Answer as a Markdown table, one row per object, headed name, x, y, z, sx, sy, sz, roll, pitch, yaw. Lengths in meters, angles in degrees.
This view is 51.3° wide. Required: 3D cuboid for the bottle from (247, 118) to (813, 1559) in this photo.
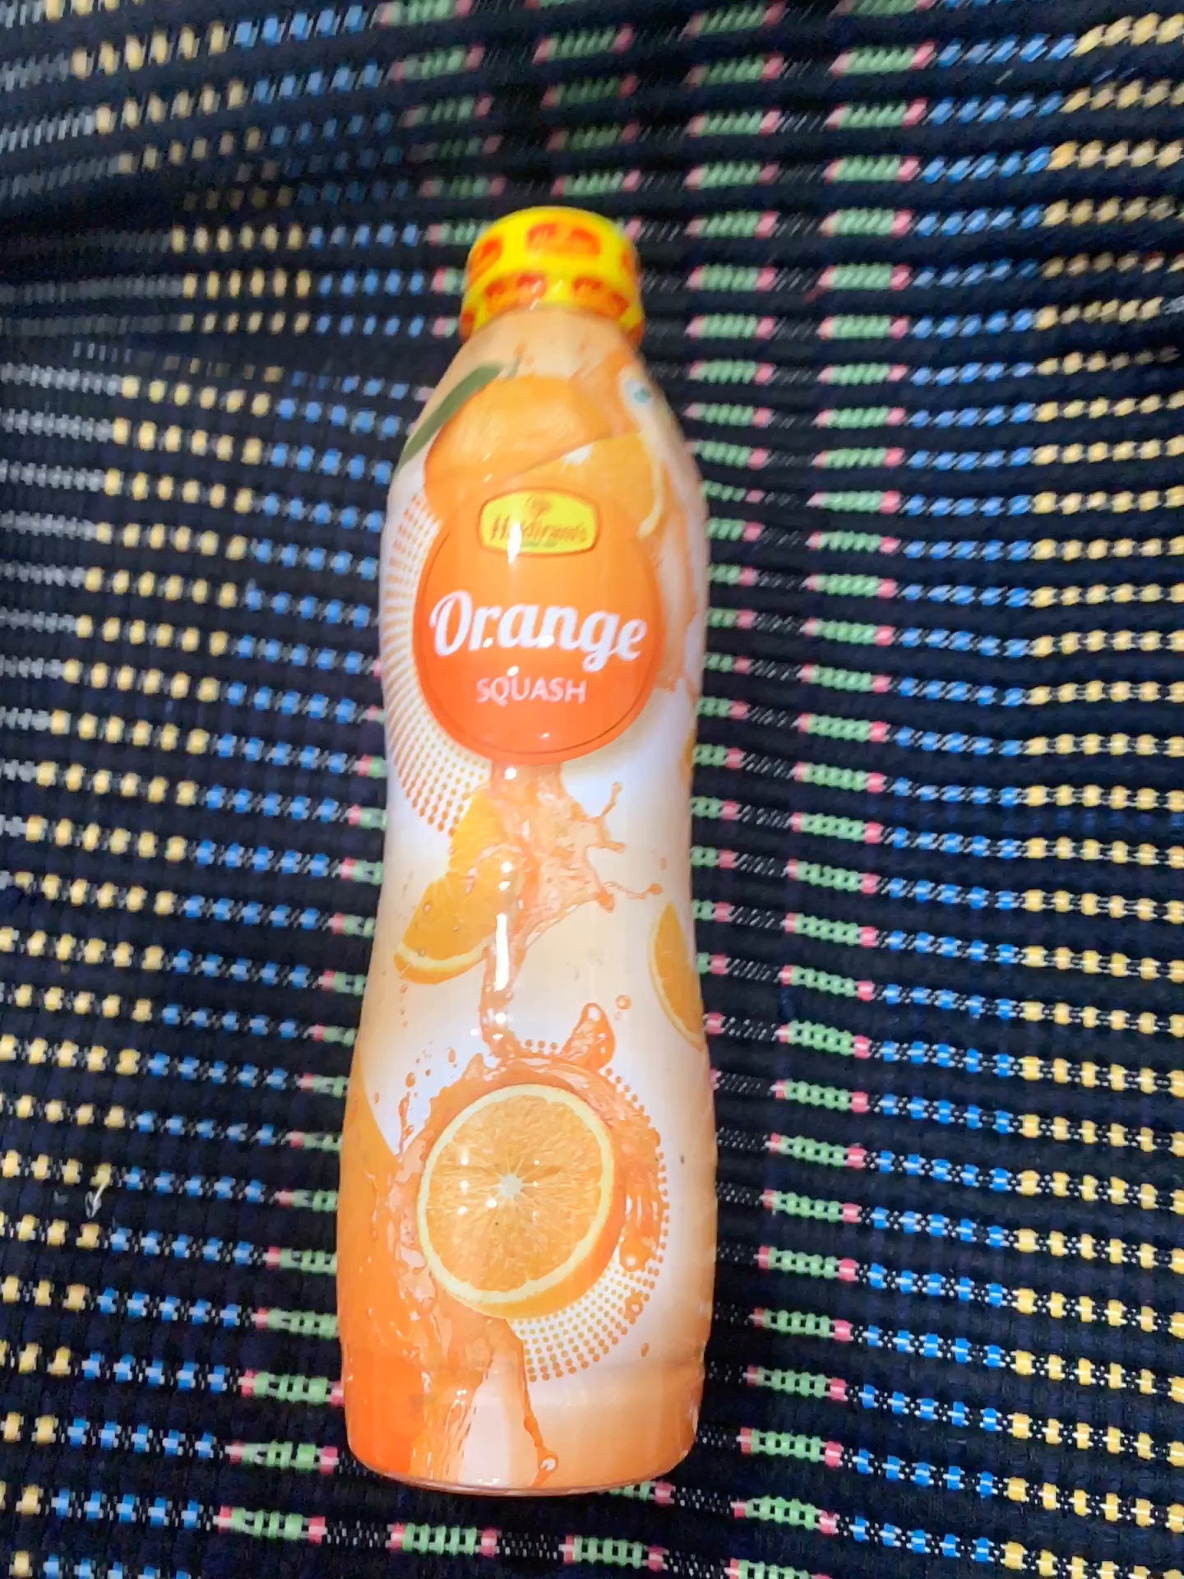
| name | x | y | z | sx | sy | sz | roll | pitch | yaw |
| --- | --- | --- | --- | --- | --- | --- | --- | --- | --- |
| bottle | -0.005 | -0.004 | 0.238 | 0.080 | 0.060 | 0.250 | 1 | 74 | 0 |
